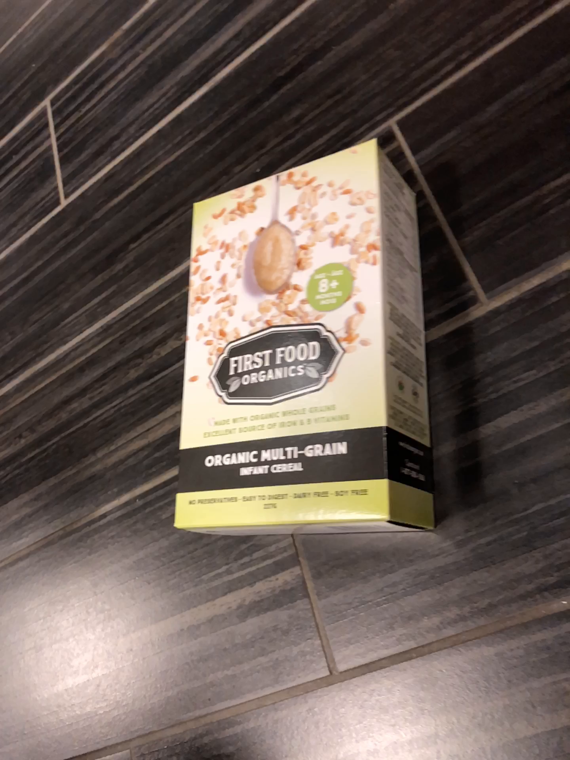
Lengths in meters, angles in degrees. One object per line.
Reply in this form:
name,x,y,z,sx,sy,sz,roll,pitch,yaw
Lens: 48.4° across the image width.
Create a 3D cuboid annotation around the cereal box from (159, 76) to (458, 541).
cereal box,0.008,-0.034,0.361,0.141,0.060,0.230,-13,67,29
